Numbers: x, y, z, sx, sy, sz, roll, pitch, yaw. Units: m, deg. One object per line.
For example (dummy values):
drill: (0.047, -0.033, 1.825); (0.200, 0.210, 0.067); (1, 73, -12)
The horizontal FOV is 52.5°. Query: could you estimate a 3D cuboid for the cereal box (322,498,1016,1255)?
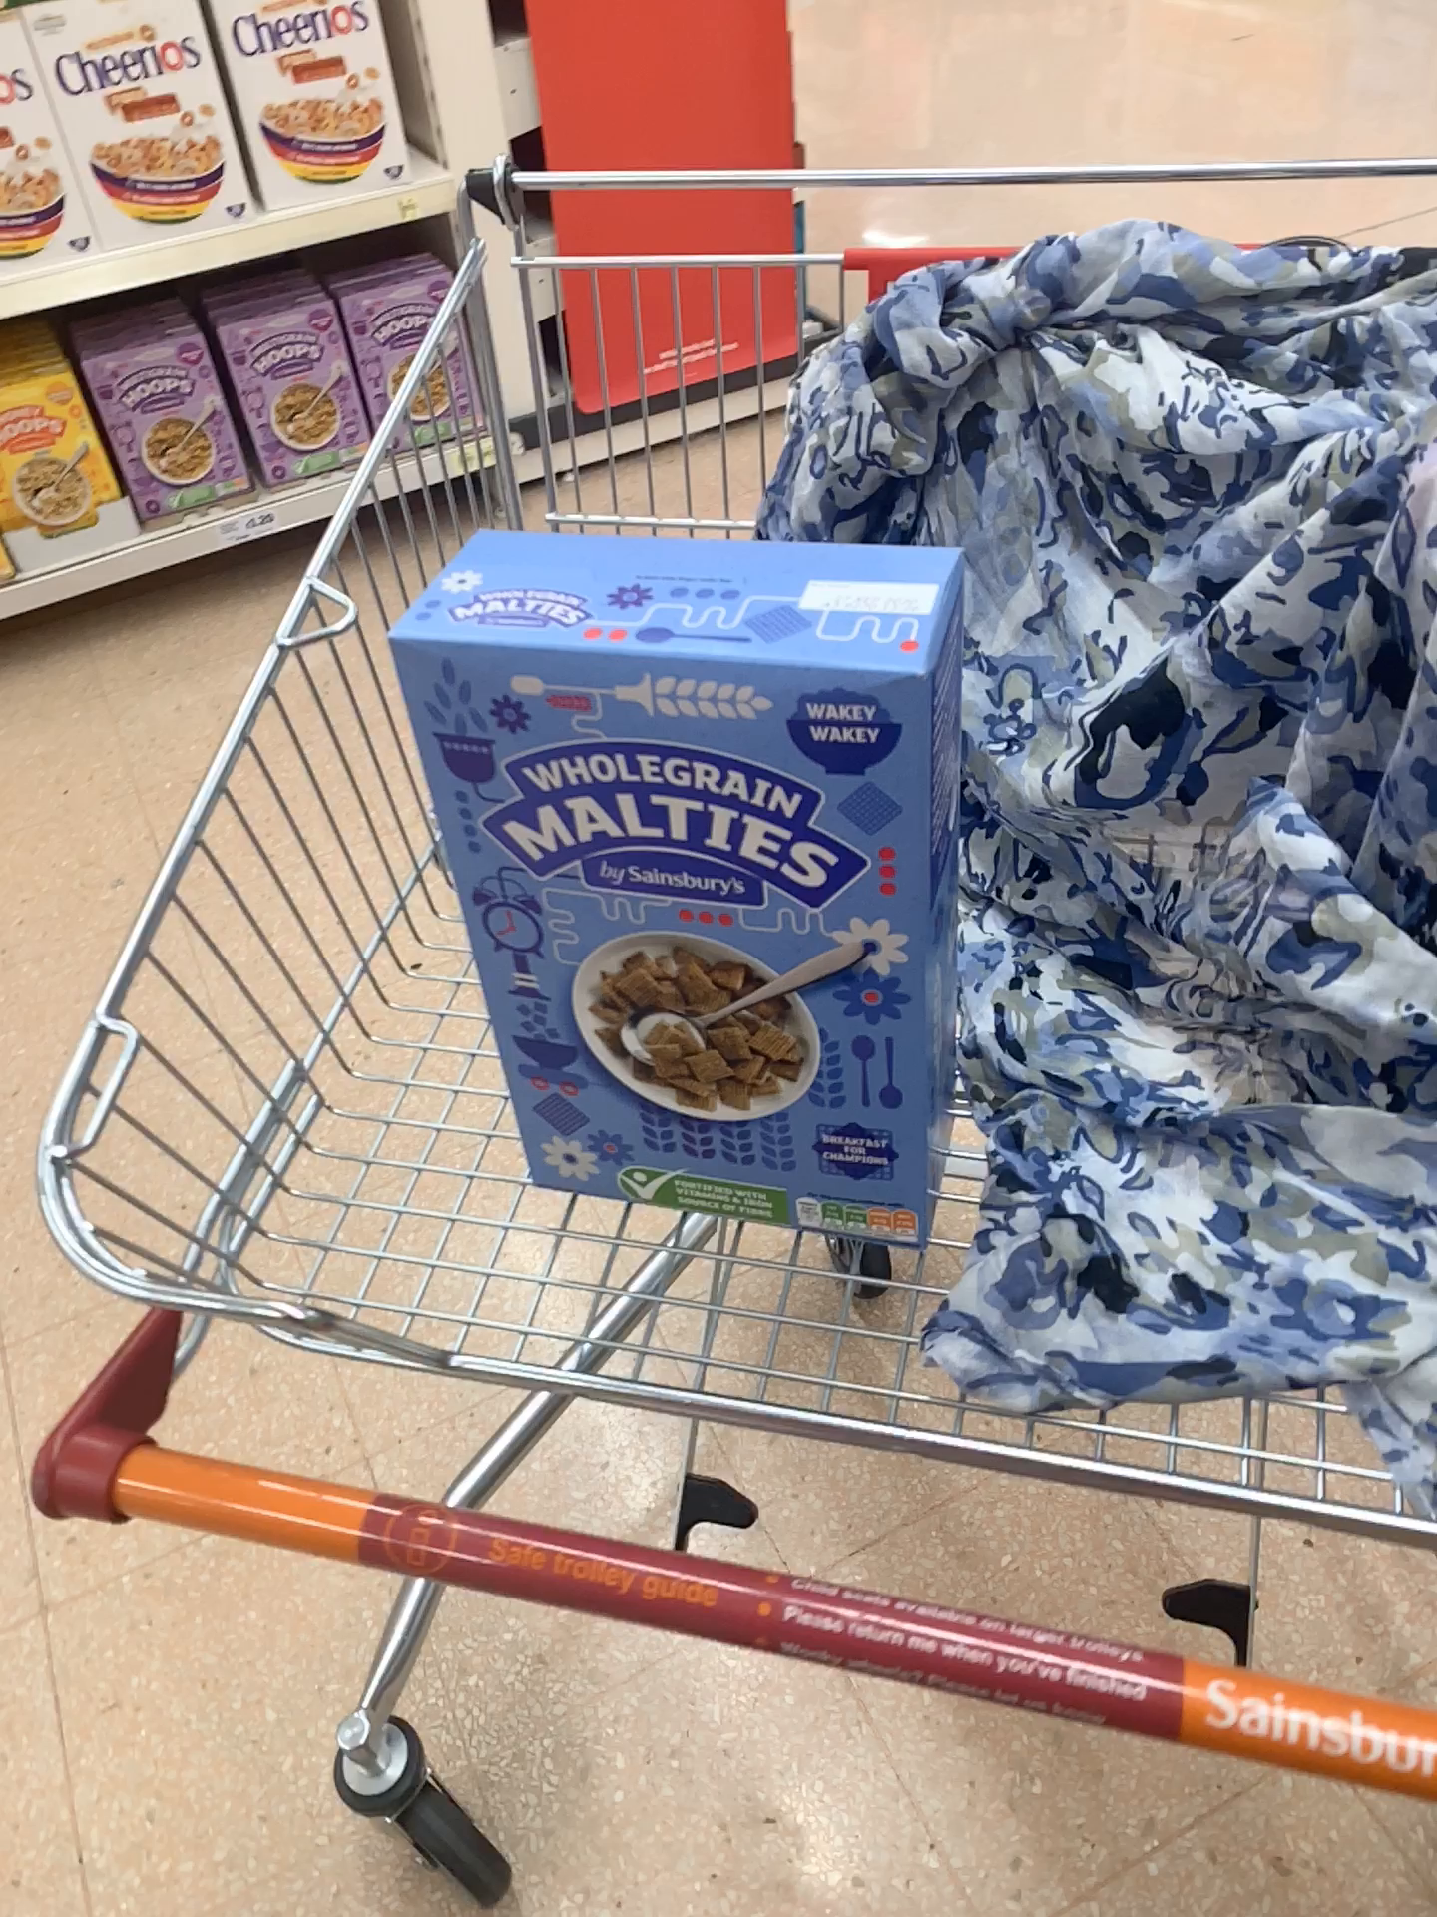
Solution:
cereal box: (-0.005, -0.024, 0.588); (0.220, 0.287, 0.091); (7, 42, 13)
